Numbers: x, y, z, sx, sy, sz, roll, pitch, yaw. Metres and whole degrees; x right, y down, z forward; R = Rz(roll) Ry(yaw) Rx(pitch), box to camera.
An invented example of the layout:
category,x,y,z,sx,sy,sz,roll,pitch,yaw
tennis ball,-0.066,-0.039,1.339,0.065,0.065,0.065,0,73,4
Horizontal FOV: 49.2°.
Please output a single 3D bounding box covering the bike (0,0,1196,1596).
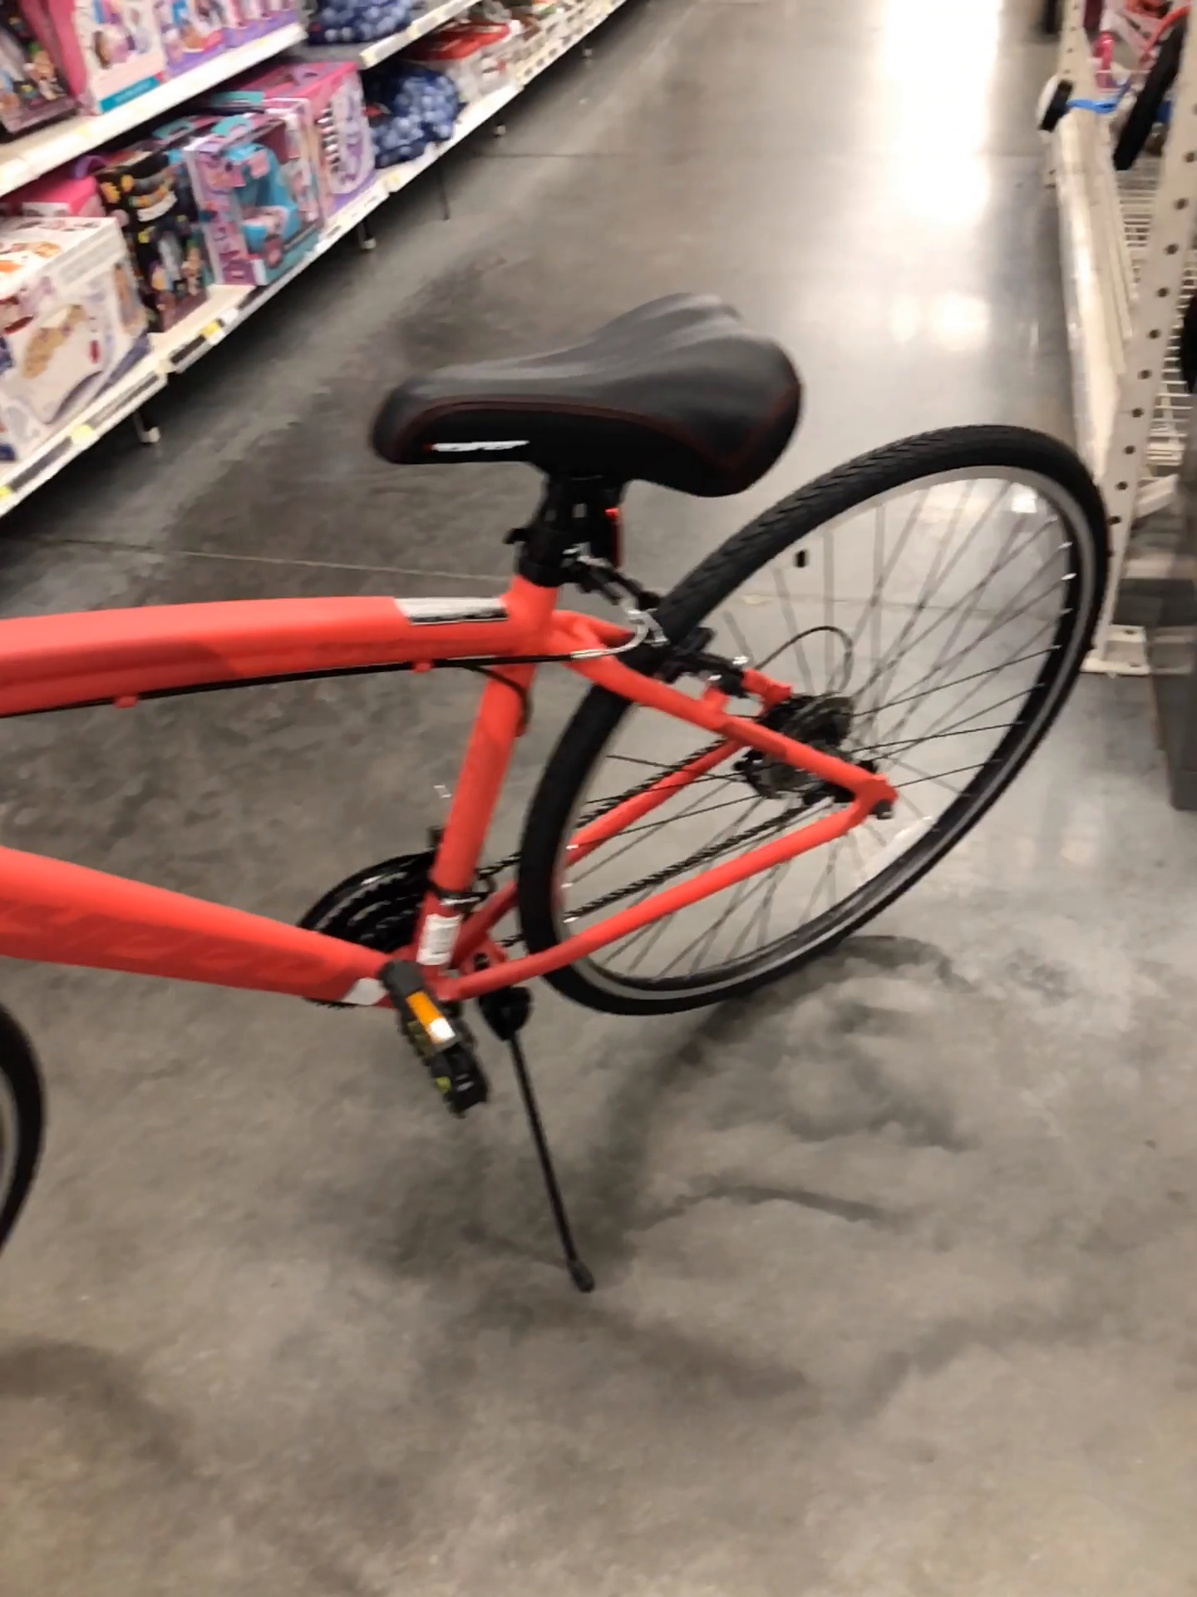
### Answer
category,x,y,z,sx,sy,sz,roll,pitch,yaw
bike,-0.205,0.079,0.897,1.689,1.000,0.616,-28,45,-23
